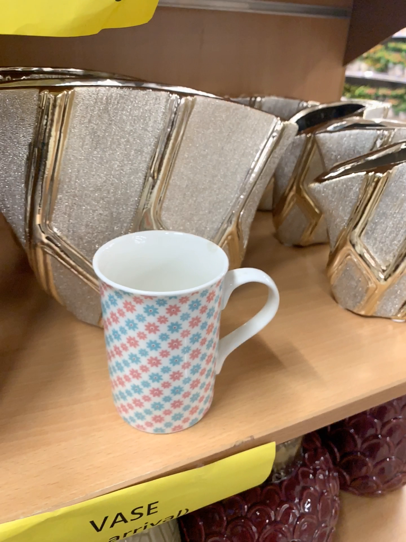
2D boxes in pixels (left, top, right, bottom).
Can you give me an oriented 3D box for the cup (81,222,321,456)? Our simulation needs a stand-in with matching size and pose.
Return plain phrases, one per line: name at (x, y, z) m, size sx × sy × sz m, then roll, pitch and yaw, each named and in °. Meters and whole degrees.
cup at (-0.007, 0.038, 0.268) m, size 0.120 × 0.110 × 0.080 m, roll -3°, pitch 28°, yaw -10°
